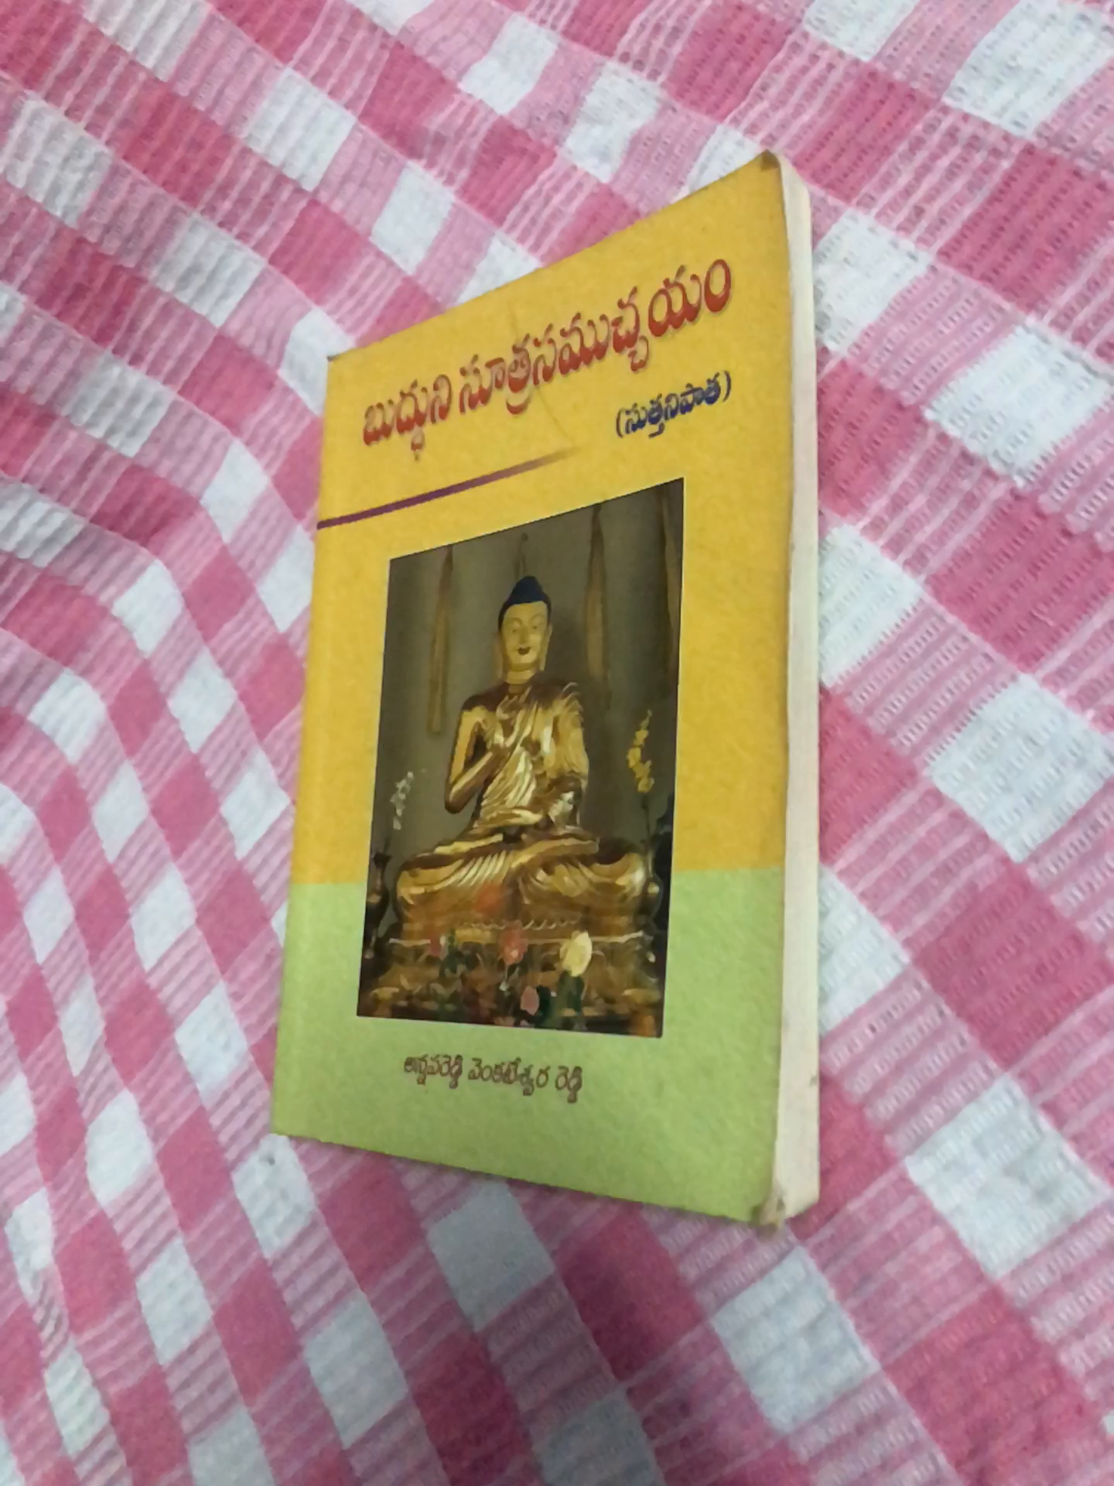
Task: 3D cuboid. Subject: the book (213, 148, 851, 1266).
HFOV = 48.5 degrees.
[{"bbox_3d":[-0.009,-0.007,0.283,0.150,0.030,0.210,-7,74,39],"label":"book"}]
